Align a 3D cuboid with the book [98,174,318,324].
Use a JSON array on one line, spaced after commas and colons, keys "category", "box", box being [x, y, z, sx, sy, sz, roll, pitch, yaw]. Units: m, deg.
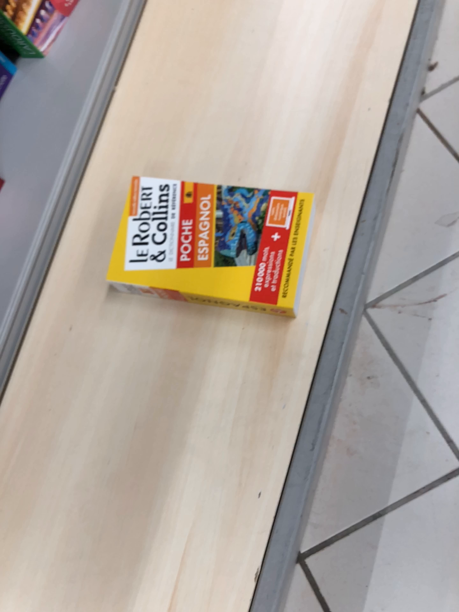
[{"category": "book", "box": [-0.017, -0.055, 0.474, 0.180, 0.040, 0.110, 9, 76, 12]}]
